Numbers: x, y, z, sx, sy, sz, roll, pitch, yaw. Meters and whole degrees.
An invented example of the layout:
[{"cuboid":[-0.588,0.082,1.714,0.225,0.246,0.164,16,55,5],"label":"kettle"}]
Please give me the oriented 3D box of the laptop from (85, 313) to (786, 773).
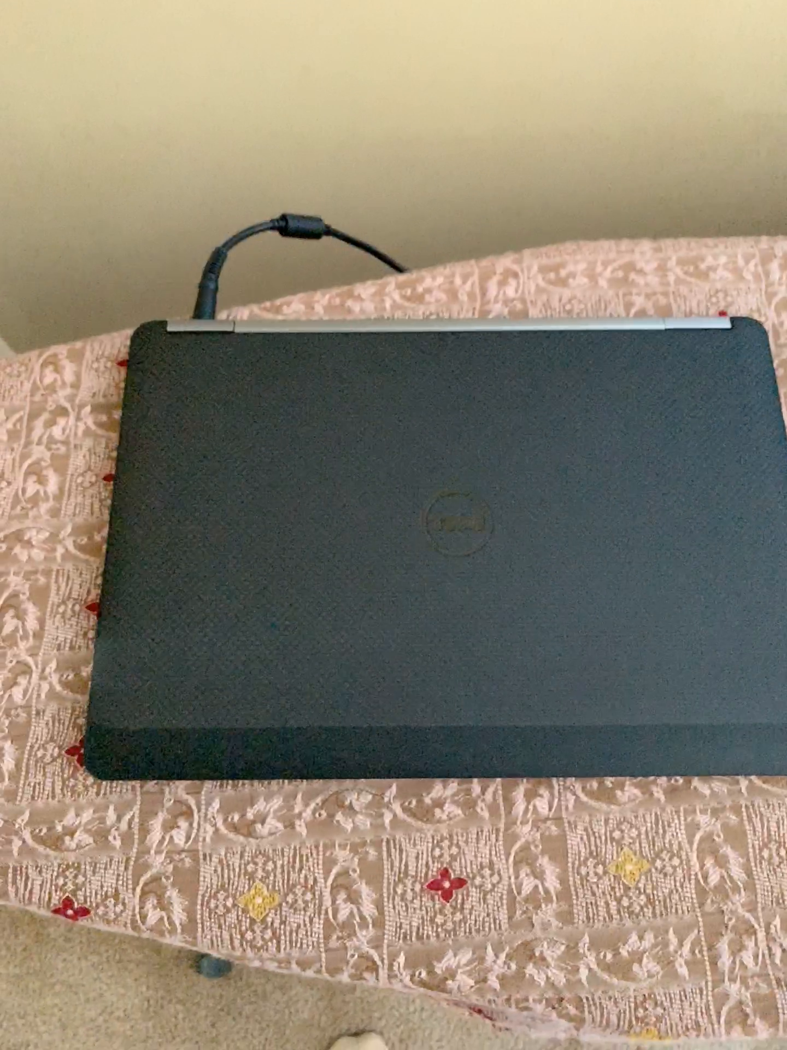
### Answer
[{"cuboid":[0.022,0.004,0.356,0.294,0.017,0.197,-1,73,4],"label":"laptop"}]
